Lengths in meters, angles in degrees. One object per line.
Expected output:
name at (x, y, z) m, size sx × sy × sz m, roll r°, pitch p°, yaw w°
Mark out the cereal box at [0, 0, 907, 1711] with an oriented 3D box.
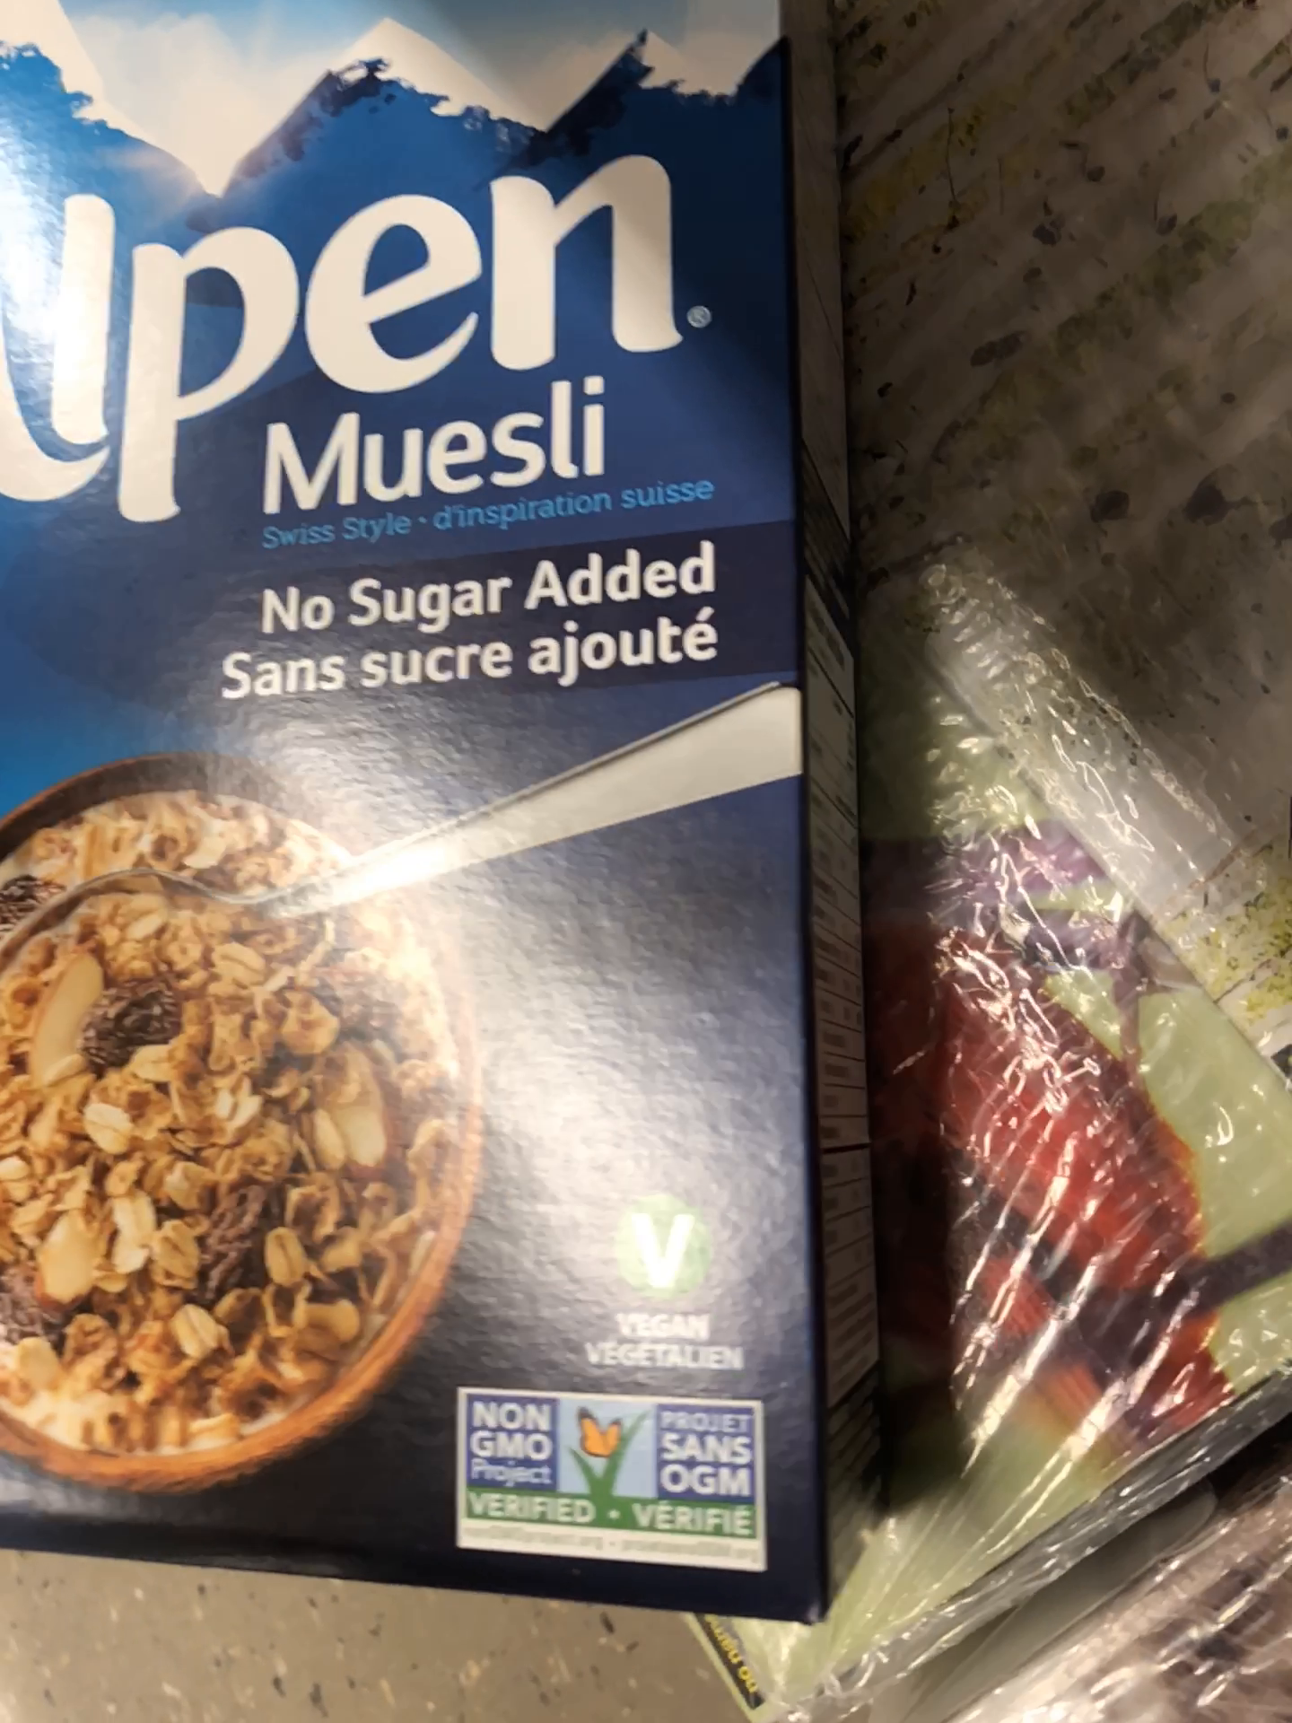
cereal box at (-0.070, -0.029, 0.216) m, size 0.200 × 0.050 × 0.250 m, roll -3°, pitch 80°, yaw 16°
